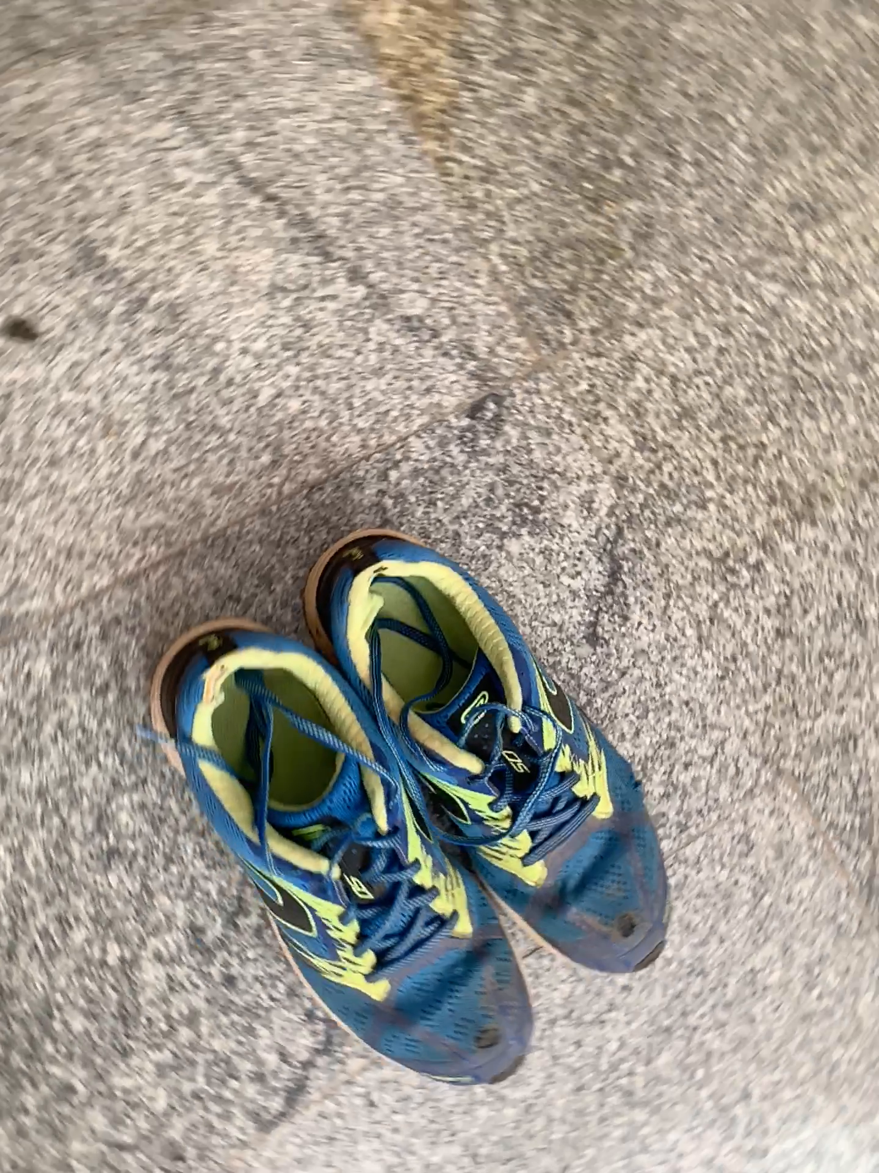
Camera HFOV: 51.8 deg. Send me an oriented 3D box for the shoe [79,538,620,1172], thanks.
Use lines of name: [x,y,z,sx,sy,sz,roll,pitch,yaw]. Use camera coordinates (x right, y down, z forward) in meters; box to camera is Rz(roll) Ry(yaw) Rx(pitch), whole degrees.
shoe: [-0.044,0.131,0.448,0.110,0.060,0.290,-33,89,-11]

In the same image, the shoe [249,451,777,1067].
shoe: [0.035,0.082,0.462,0.100,0.060,0.290,-36,89,-1]
